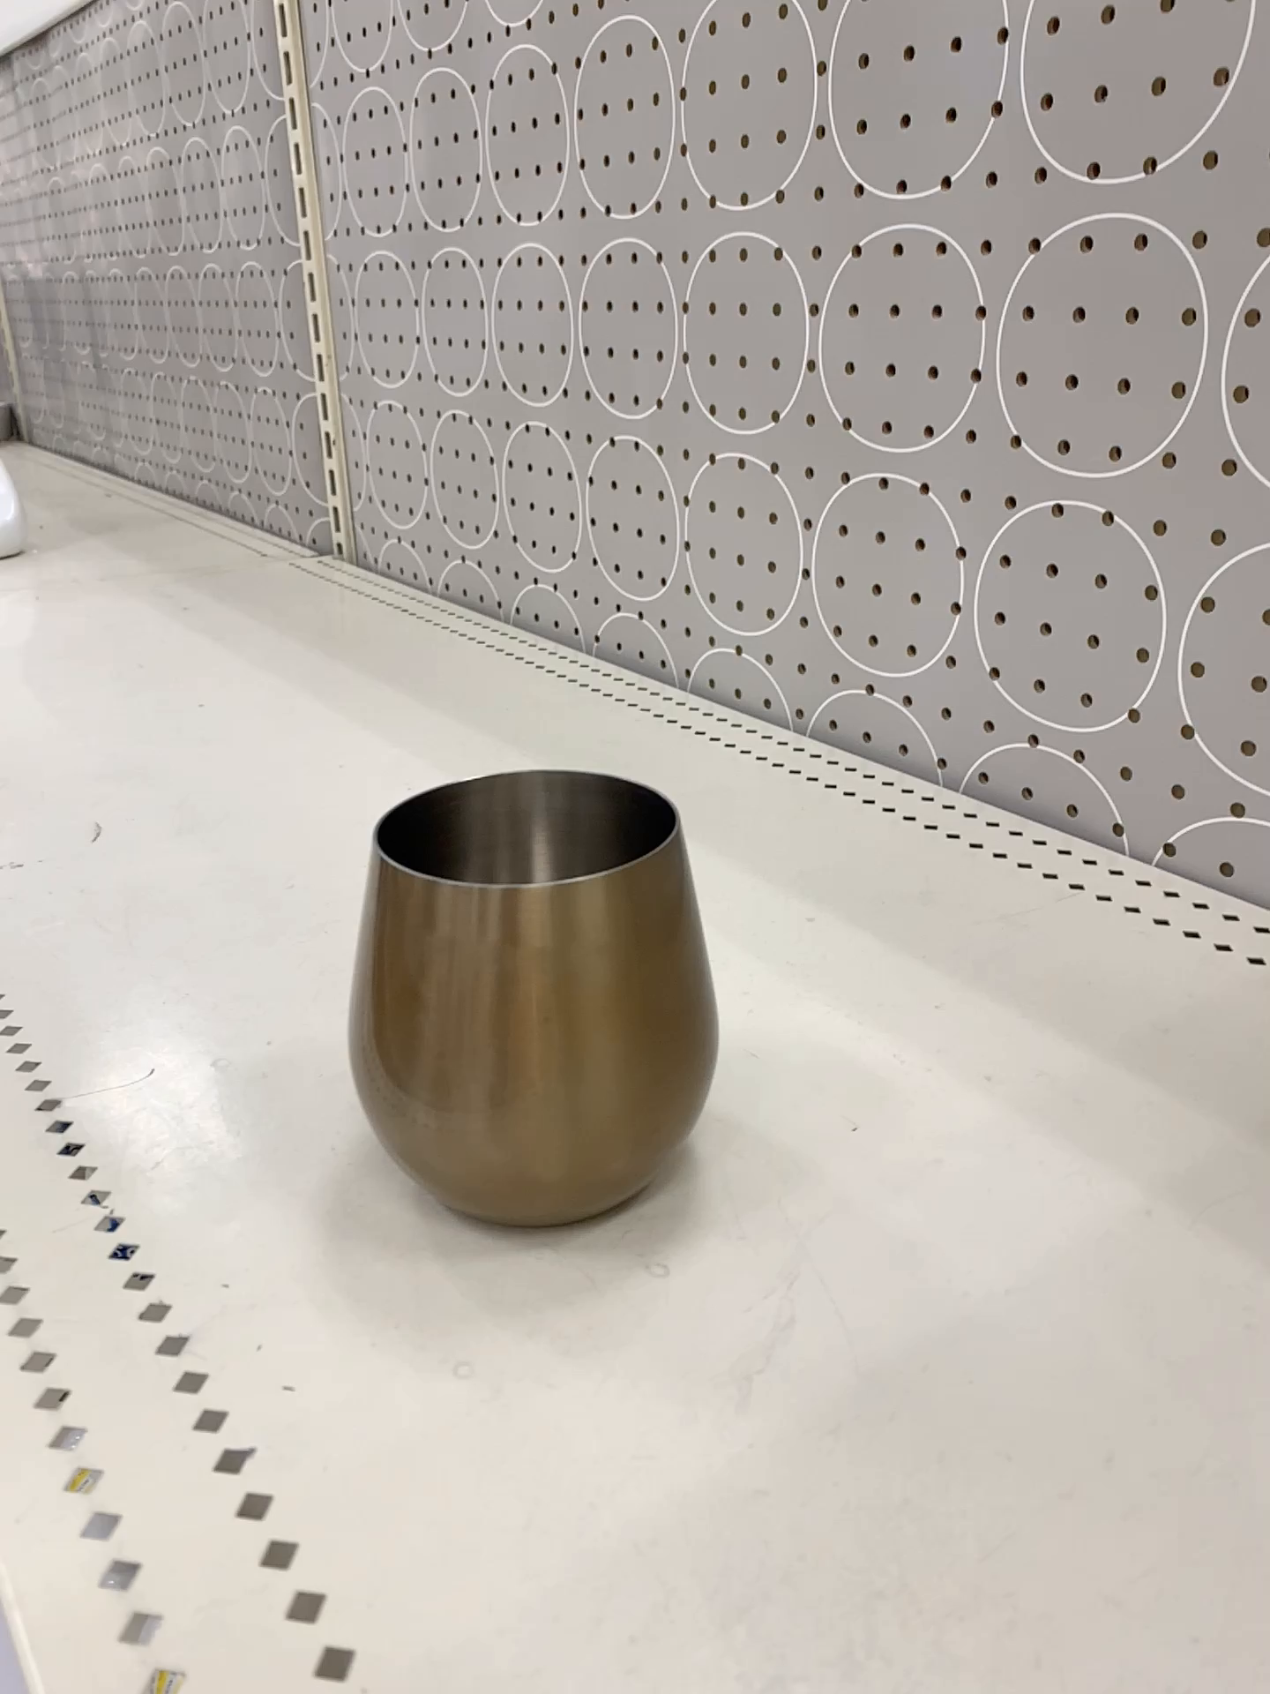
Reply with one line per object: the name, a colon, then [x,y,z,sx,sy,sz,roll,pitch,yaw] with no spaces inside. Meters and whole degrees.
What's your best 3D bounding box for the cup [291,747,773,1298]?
cup: [-0.025,0.037,0.328,0.083,0.090,0.082,-1,23,0]
